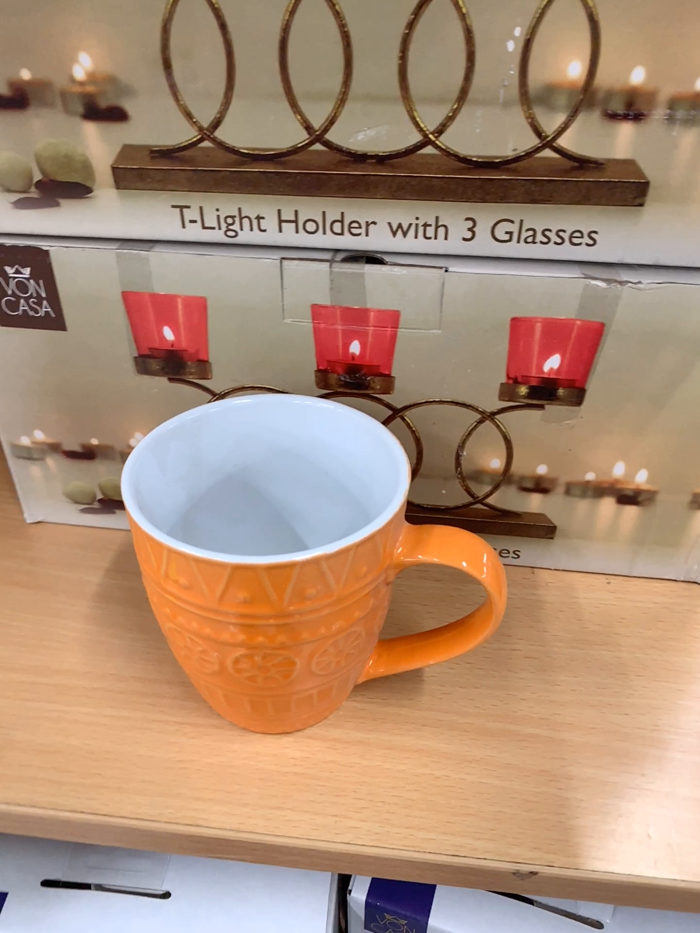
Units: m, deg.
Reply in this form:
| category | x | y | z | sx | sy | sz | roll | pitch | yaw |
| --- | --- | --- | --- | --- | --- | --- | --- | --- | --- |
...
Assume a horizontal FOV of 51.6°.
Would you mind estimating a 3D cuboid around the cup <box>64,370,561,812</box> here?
| category | x | y | z | sx | sy | sz | roll | pitch | yaw |
| --- | --- | --- | --- | --- | --- | --- | --- | --- | --- |
| cup | -0.005 | 0.033 | 0.224 | 0.120 | 0.080 | 0.080 | 10 | 35 | 10 |
